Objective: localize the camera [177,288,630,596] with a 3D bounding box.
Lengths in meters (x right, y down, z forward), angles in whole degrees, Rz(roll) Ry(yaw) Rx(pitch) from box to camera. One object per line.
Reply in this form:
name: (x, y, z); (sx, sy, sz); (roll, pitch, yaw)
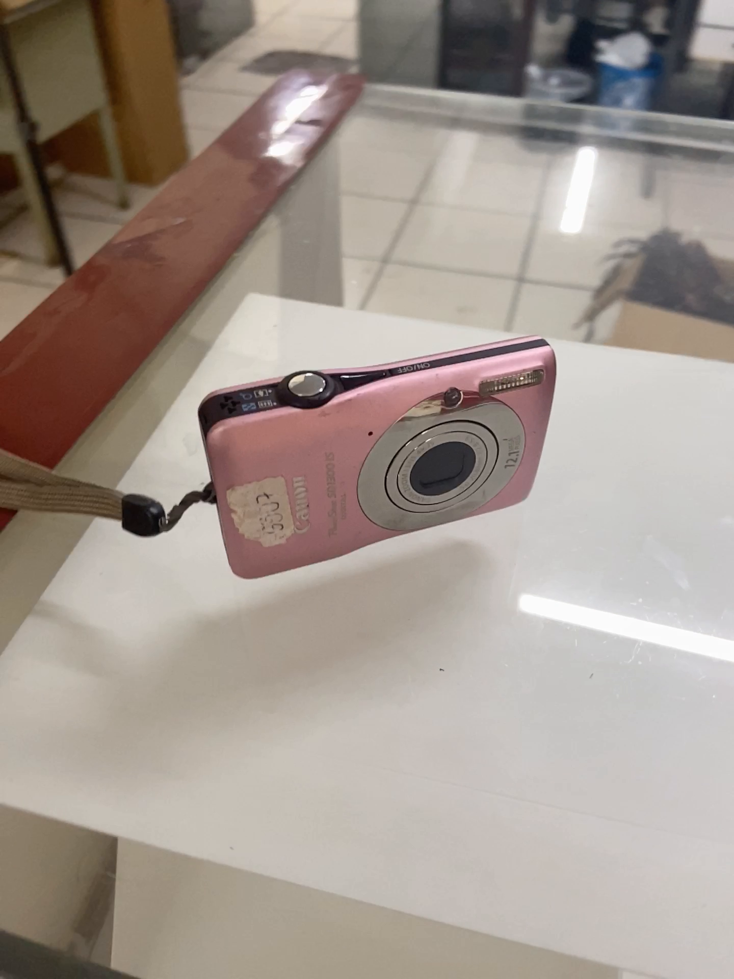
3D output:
camera: (0.009, -0.013, 0.192); (0.100, 0.050, 0.030); (-13, 46, -16)
